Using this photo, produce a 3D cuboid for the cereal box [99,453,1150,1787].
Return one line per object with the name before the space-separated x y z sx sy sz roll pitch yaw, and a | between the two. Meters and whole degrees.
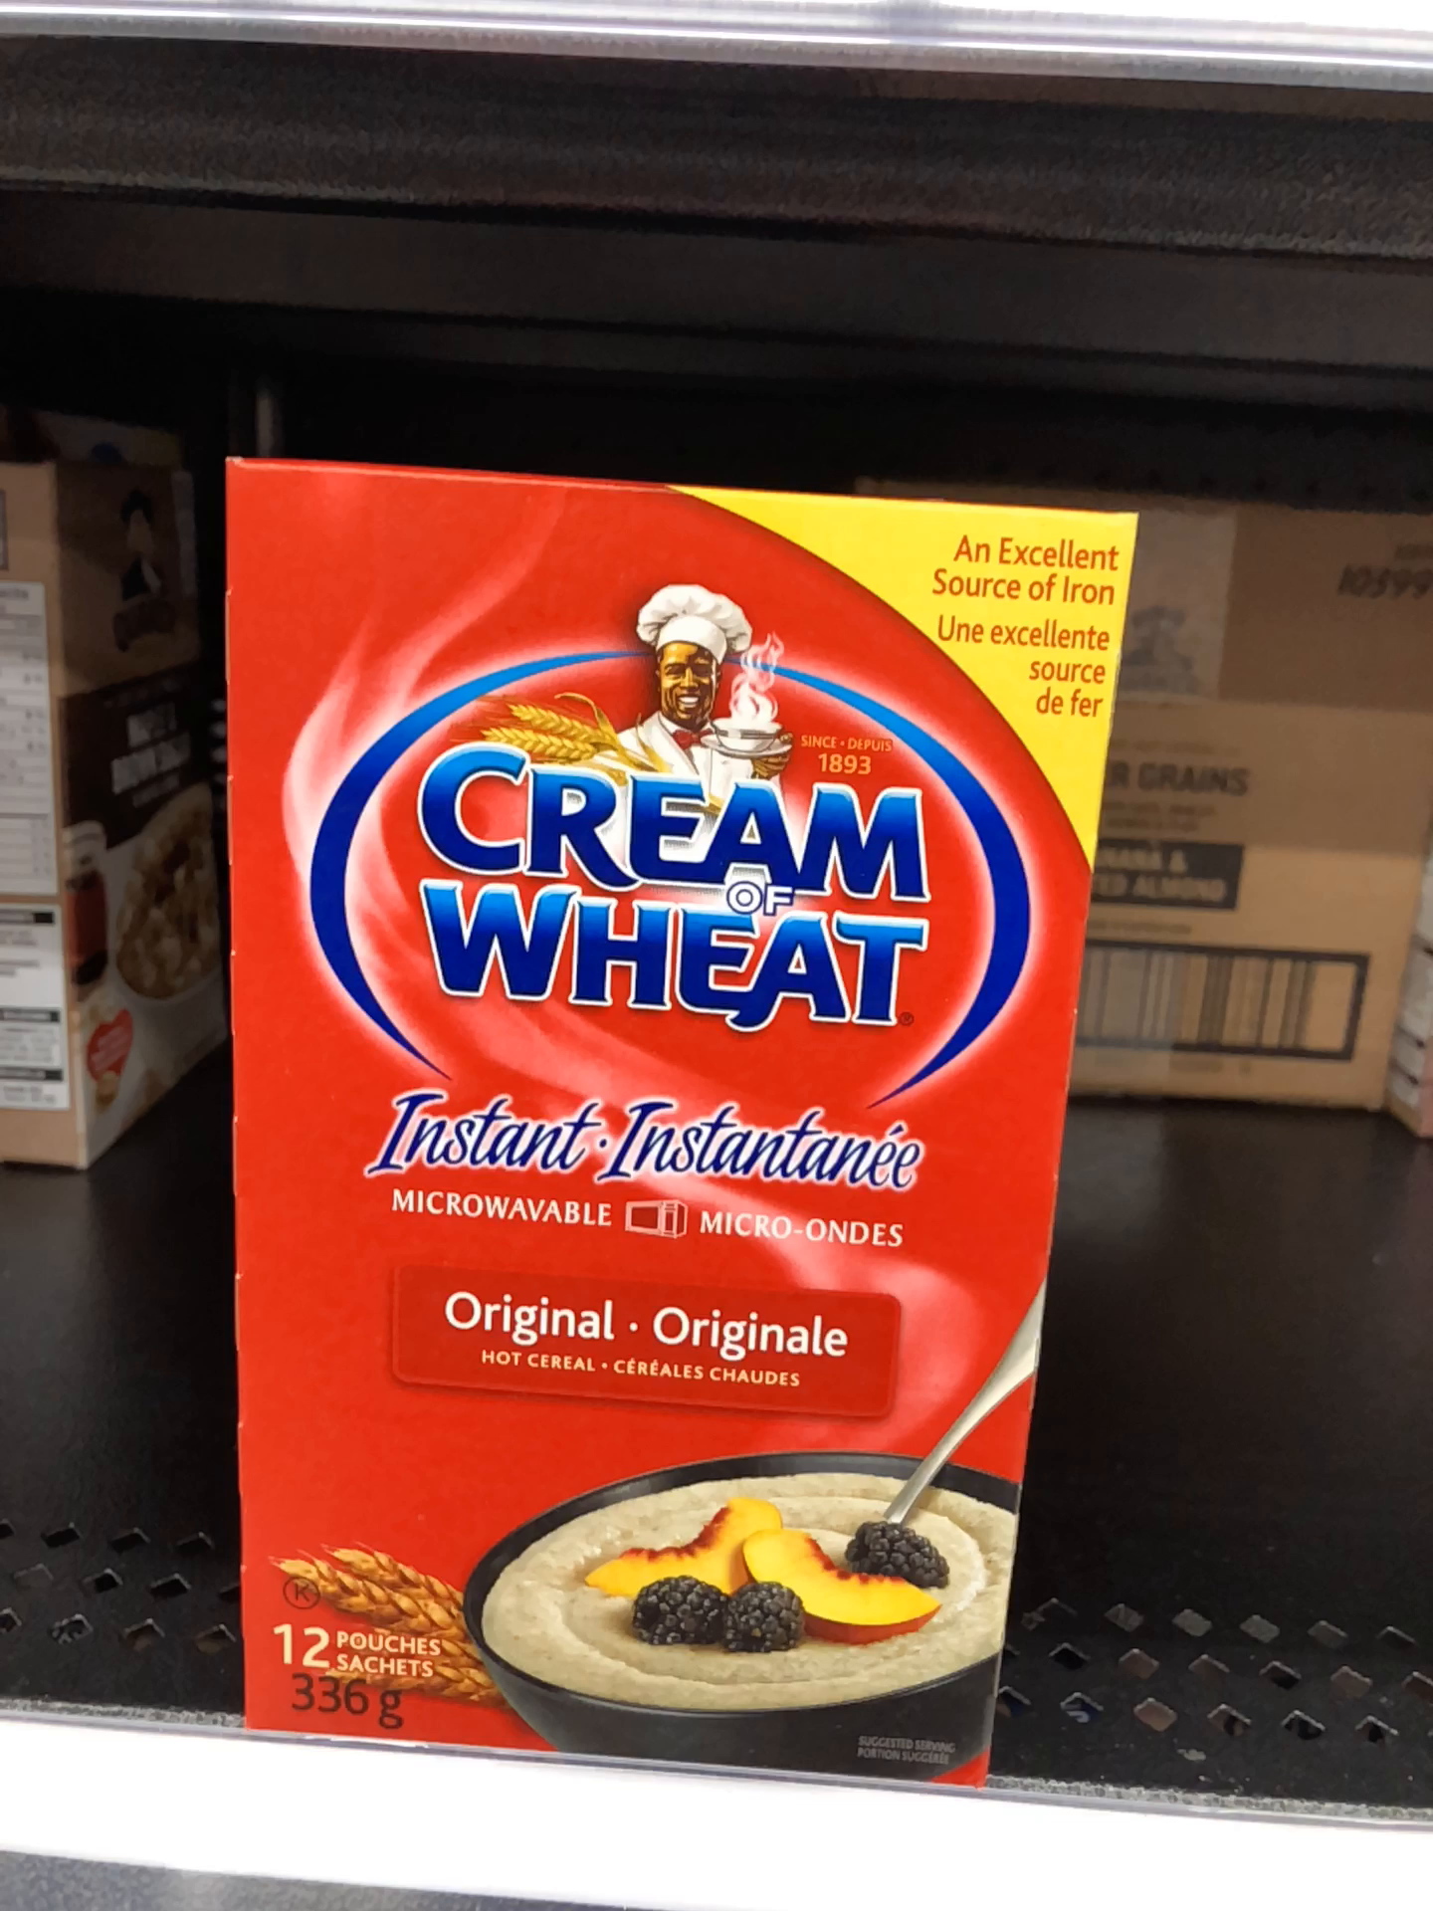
cereal box | -0.016 0.024 0.251 0.130 0.189 0.060 4 16 2
